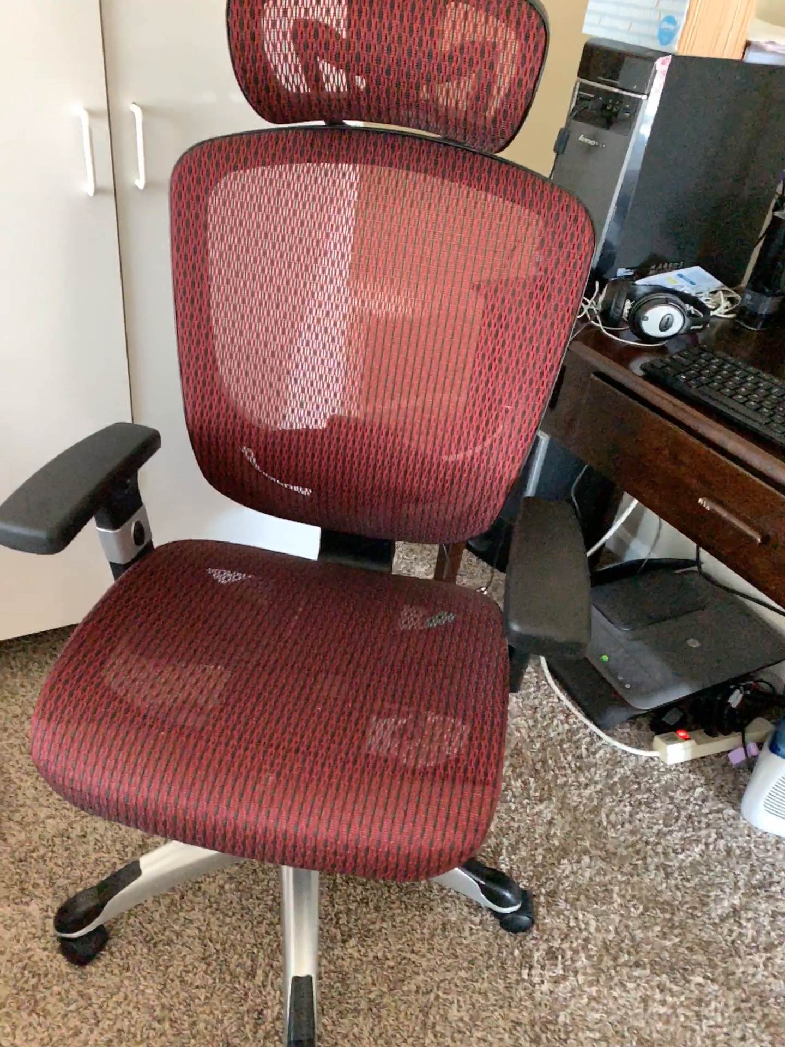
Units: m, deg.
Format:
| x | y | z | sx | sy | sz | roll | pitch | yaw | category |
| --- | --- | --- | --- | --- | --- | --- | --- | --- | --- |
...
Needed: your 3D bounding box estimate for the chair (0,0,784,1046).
| x | y | z | sx | sy | sz | roll | pitch | yaw | category |
| --- | --- | --- | --- | --- | --- | --- | --- | --- | --- |
| -0.063 | 0.033 | 0.934 | 0.730 | 1.154 | 0.814 | 12 | 35 | 7 | chair |
